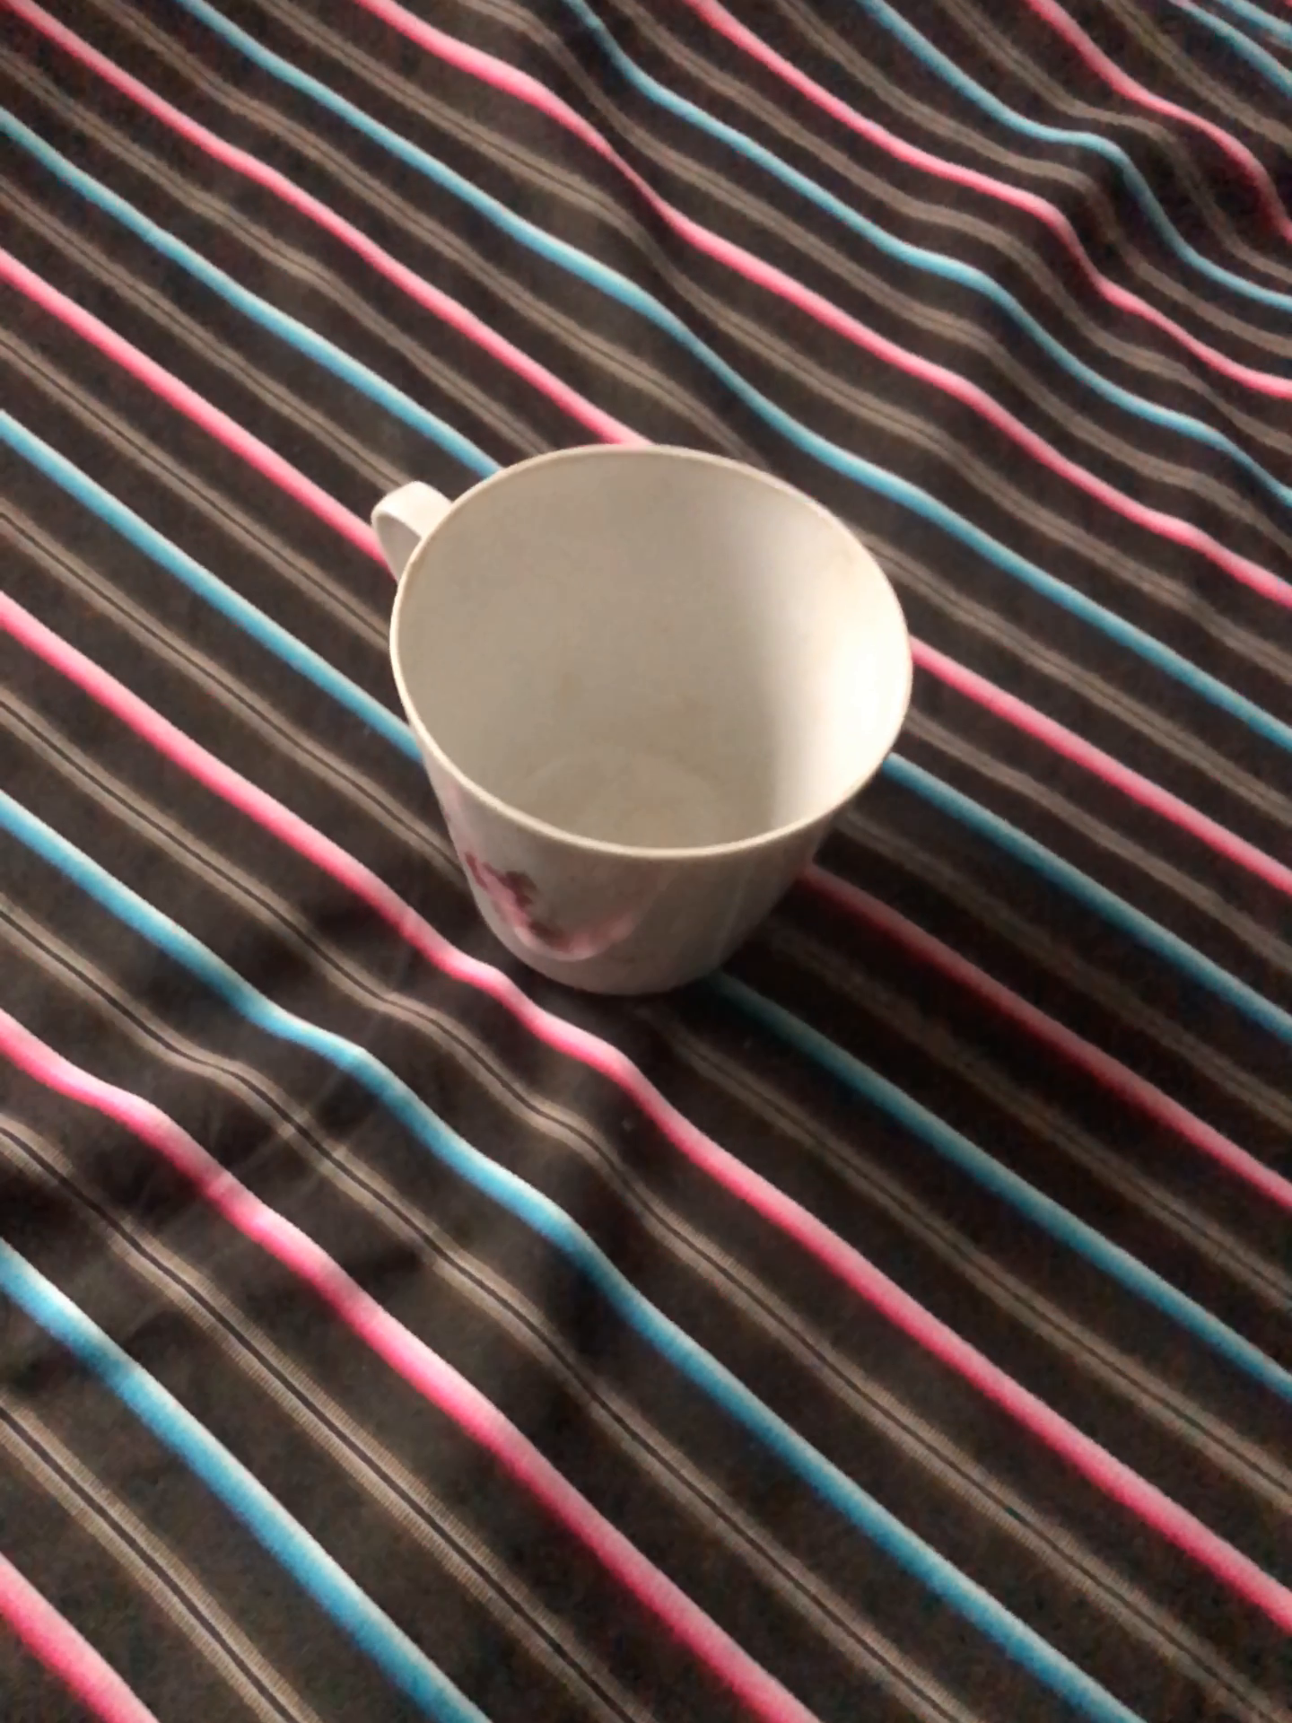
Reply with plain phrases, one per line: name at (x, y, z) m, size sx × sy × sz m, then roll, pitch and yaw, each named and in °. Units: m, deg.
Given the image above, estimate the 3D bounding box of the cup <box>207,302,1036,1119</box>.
cup at (-0.006, -0.026, 0.224) m, size 0.073 × 0.049 × 0.094 m, roll -34°, pitch 68°, yaw -21°
